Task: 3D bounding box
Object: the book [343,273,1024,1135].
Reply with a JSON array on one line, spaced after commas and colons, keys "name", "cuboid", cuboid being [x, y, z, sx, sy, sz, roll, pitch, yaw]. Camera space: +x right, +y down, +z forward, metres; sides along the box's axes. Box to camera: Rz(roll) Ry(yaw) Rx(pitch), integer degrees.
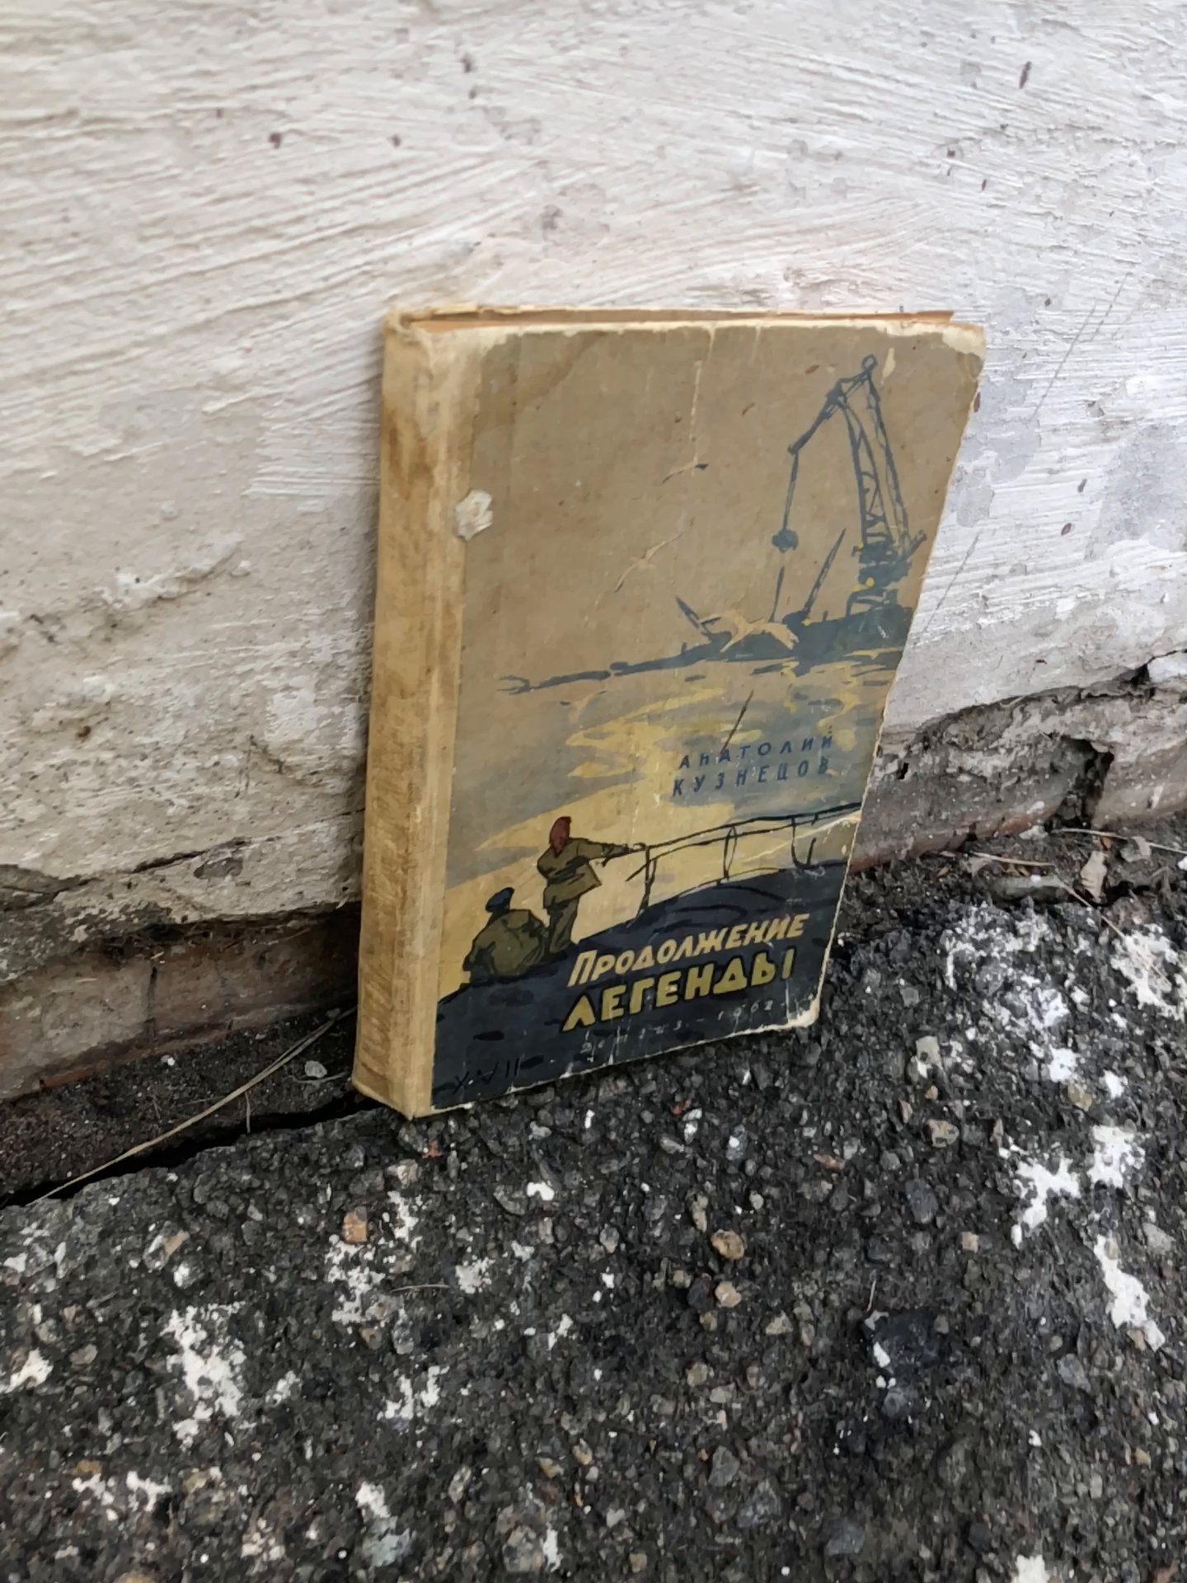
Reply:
[{"name": "book", "cuboid": [0.014, -0.018, 0.299, 0.136, 0.181, 0.030, -10, 33, -27]}]
